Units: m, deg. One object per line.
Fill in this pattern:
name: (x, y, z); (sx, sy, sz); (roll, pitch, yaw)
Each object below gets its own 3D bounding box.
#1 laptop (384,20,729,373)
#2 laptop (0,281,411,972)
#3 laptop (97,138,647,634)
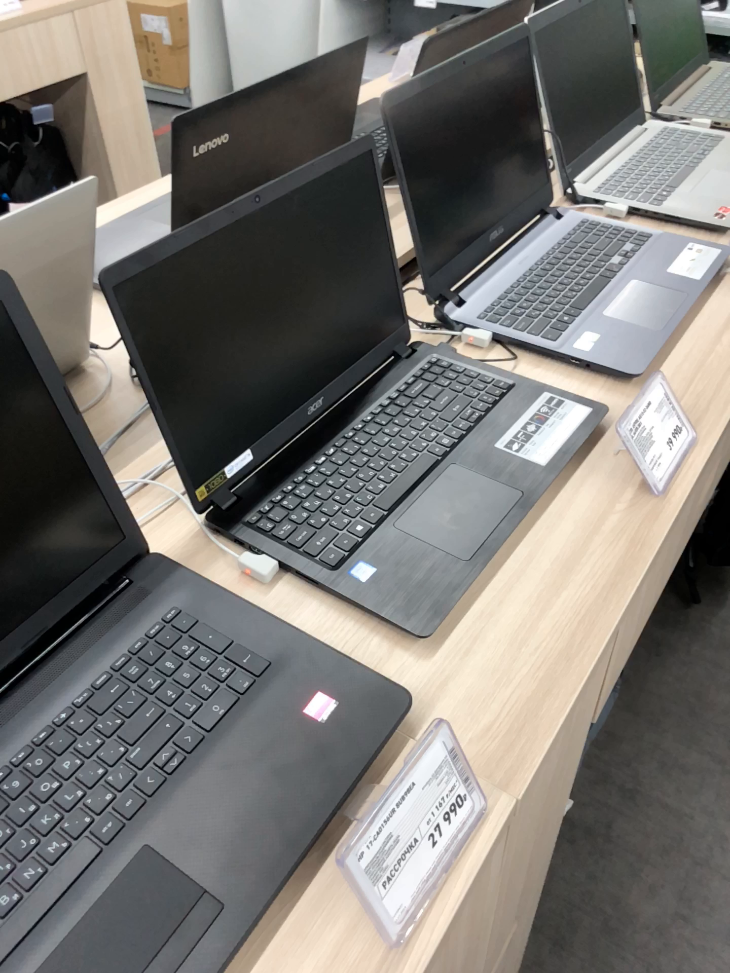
laptop: (0.251, -0.365, 0.956); (0.325, 0.218, 0.328); (26, 50, 25)
laptop: (-0.216, 0.100, 0.434); (0.345, 0.226, 0.354); (22, 44, 22)
laptop: (0.023, -0.118, 0.710); (0.291, 0.219, 0.347); (24, 48, 26)
